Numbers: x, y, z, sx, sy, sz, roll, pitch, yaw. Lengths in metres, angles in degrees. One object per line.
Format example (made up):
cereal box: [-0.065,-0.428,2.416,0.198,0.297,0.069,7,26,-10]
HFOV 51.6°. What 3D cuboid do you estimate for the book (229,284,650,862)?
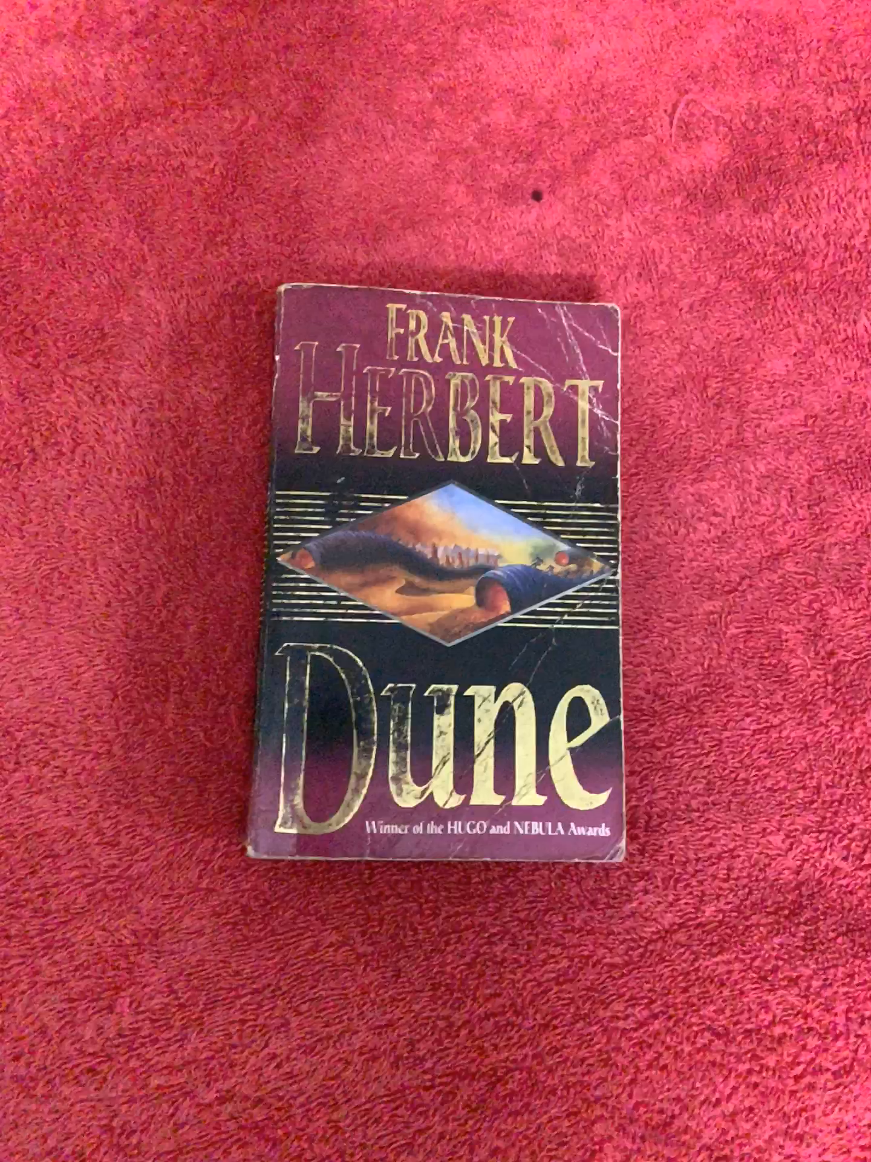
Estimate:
book: [0.002,-0.002,0.277,0.114,0.040,0.165,2,80,-4]
